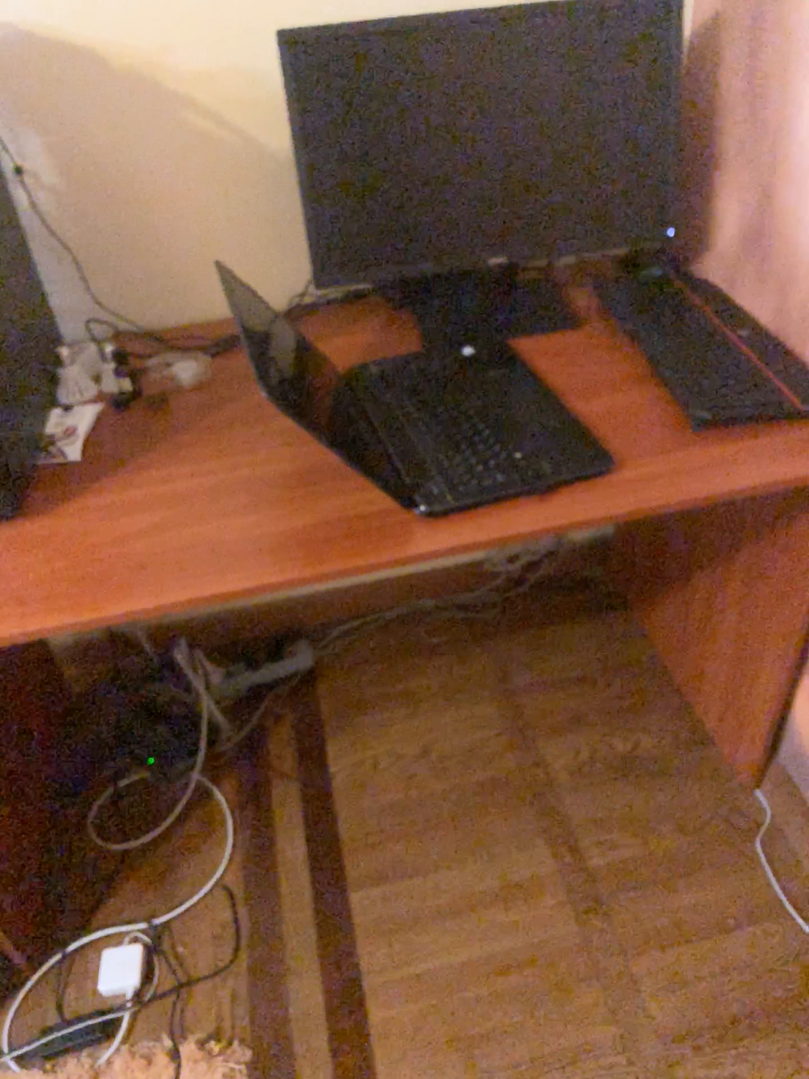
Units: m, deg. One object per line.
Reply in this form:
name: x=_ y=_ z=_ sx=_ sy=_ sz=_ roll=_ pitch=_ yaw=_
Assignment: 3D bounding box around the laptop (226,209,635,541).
laptop: x=0.008 y=-0.221 z=1.004 sx=0.368 sy=0.181 sz=0.367 roll=-15 pitch=39 yaw=-9
